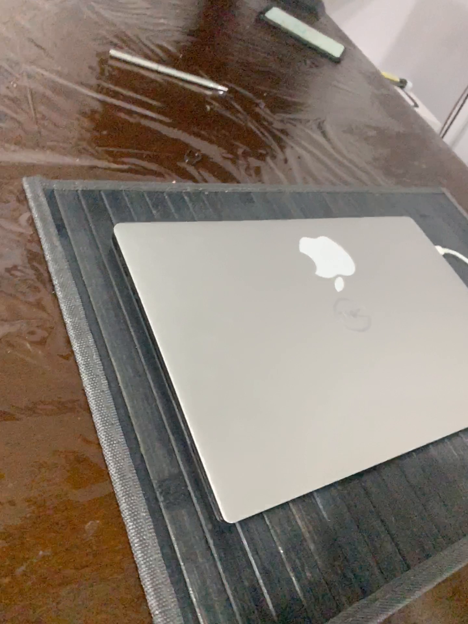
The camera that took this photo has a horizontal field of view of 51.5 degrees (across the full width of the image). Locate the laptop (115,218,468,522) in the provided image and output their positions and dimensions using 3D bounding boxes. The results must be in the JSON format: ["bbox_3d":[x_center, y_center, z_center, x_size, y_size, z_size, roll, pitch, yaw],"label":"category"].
[{"bbox_3d":[0.077,0.003,0.332,0.272,0.001,0.188,-8,56,-31],"label":"laptop"}]
